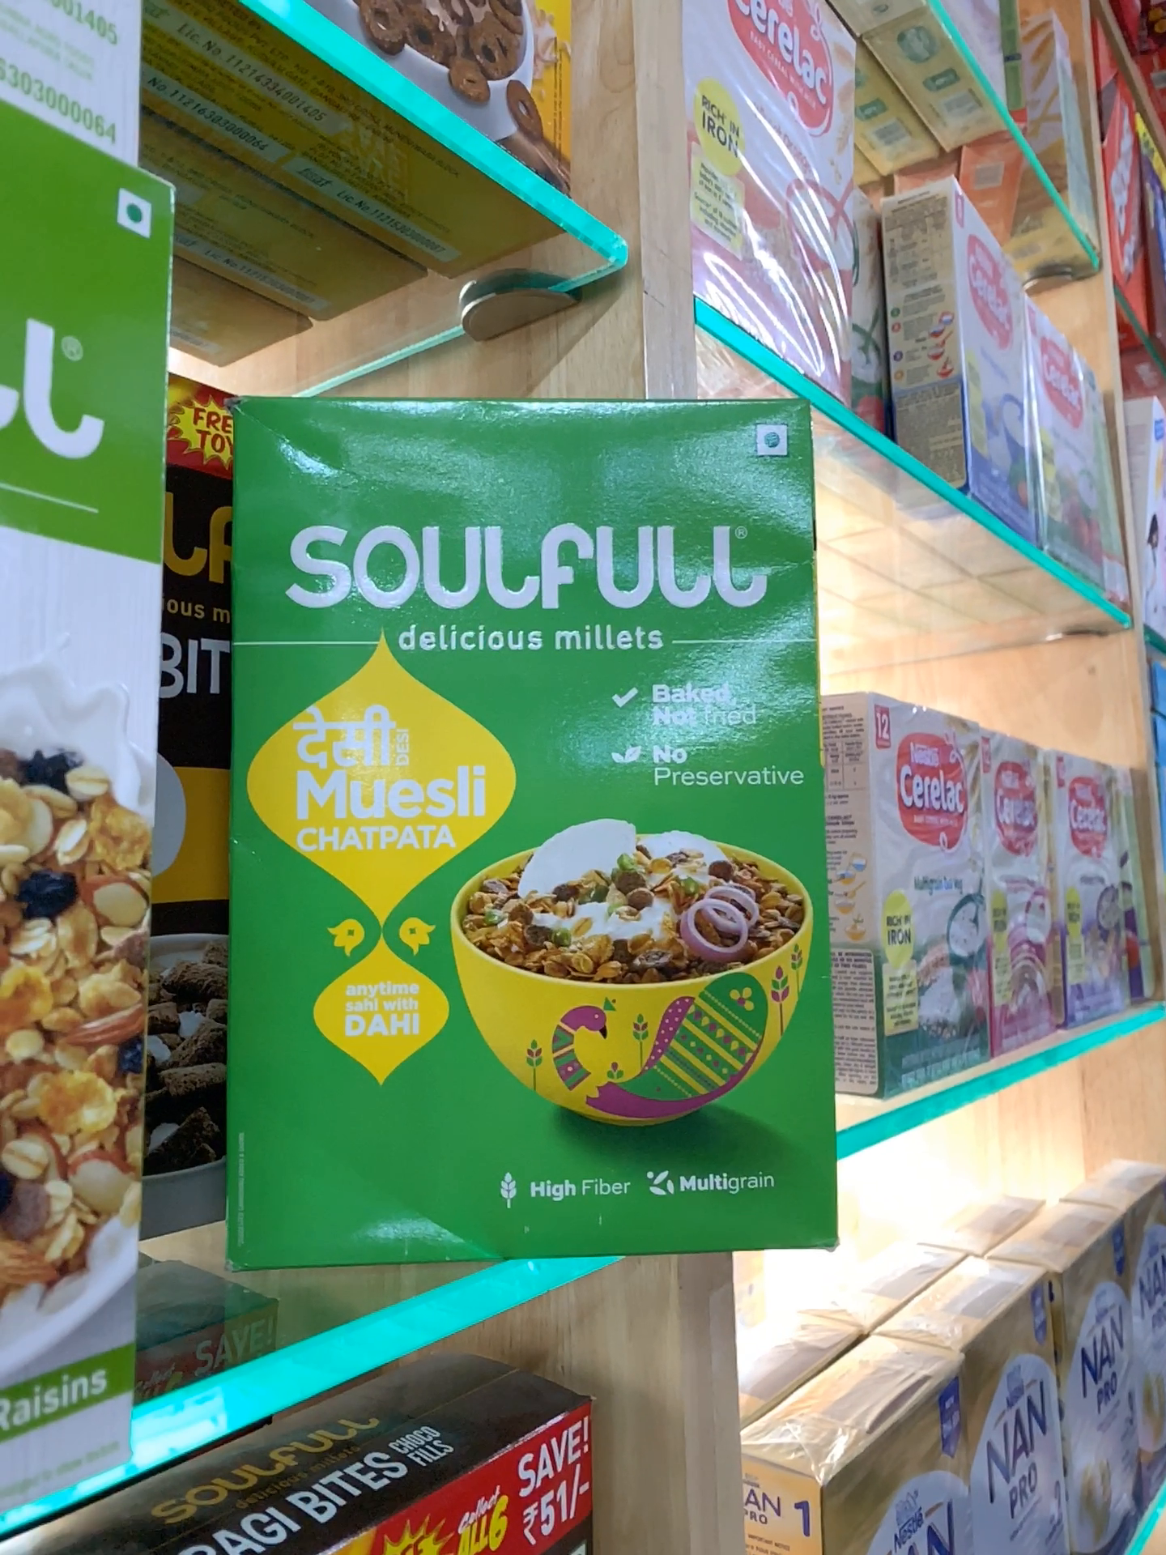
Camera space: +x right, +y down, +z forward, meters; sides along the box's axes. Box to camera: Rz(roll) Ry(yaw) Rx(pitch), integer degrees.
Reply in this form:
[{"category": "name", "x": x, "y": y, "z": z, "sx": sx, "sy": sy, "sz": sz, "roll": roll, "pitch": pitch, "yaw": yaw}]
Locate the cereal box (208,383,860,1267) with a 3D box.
[{"category": "cereal box", "x": -0.015, "y": 0.009, "z": 0.337, "sx": 0.160, "sy": 0.220, "sz": 0.060, "roll": -1, "pitch": -6, "yaw": -5}]
